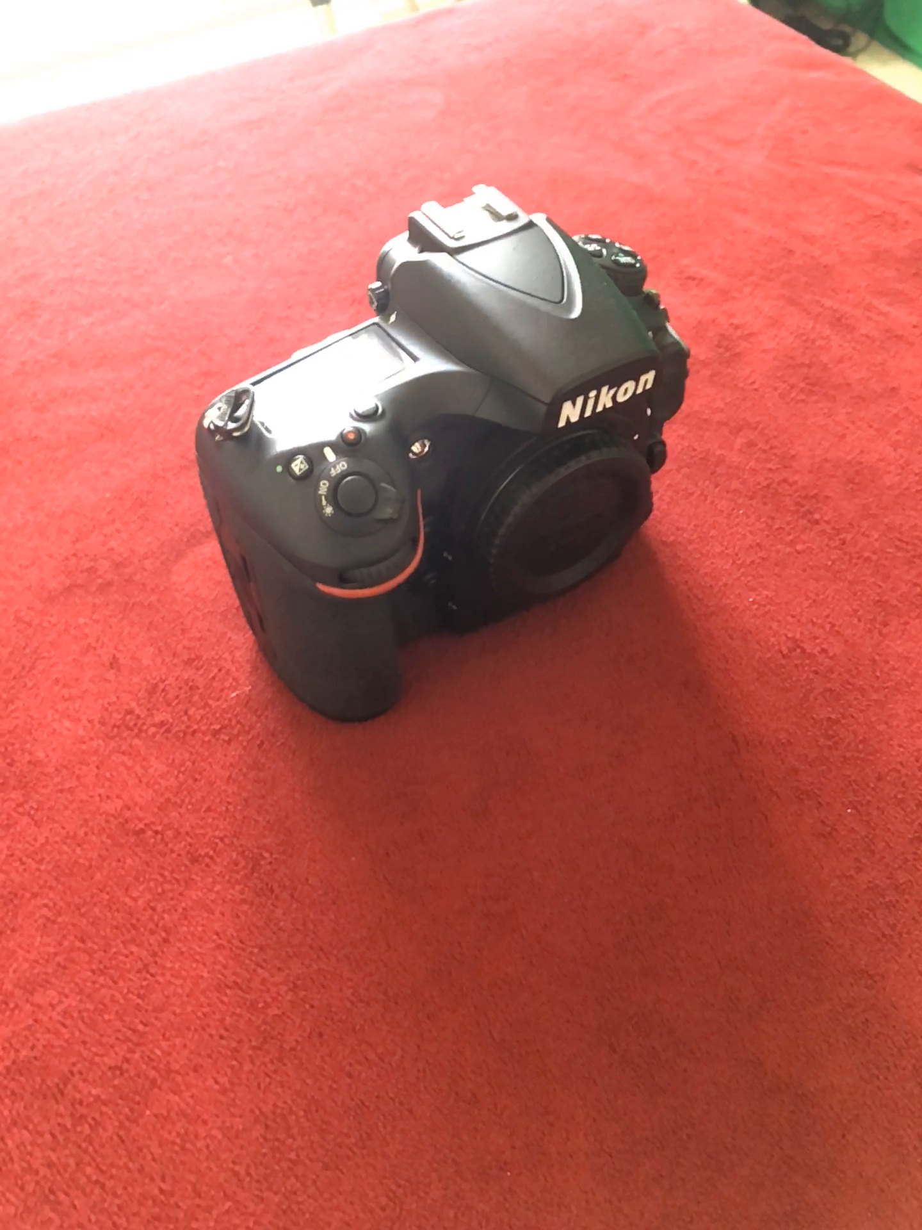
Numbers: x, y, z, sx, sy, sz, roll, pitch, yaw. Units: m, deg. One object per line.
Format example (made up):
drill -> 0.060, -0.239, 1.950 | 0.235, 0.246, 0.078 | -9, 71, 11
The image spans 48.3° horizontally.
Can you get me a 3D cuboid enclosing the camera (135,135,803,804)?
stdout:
camera -> 0.004, -0.042, 0.307 | 0.145, 0.129, 0.083 | -28, 56, -19
